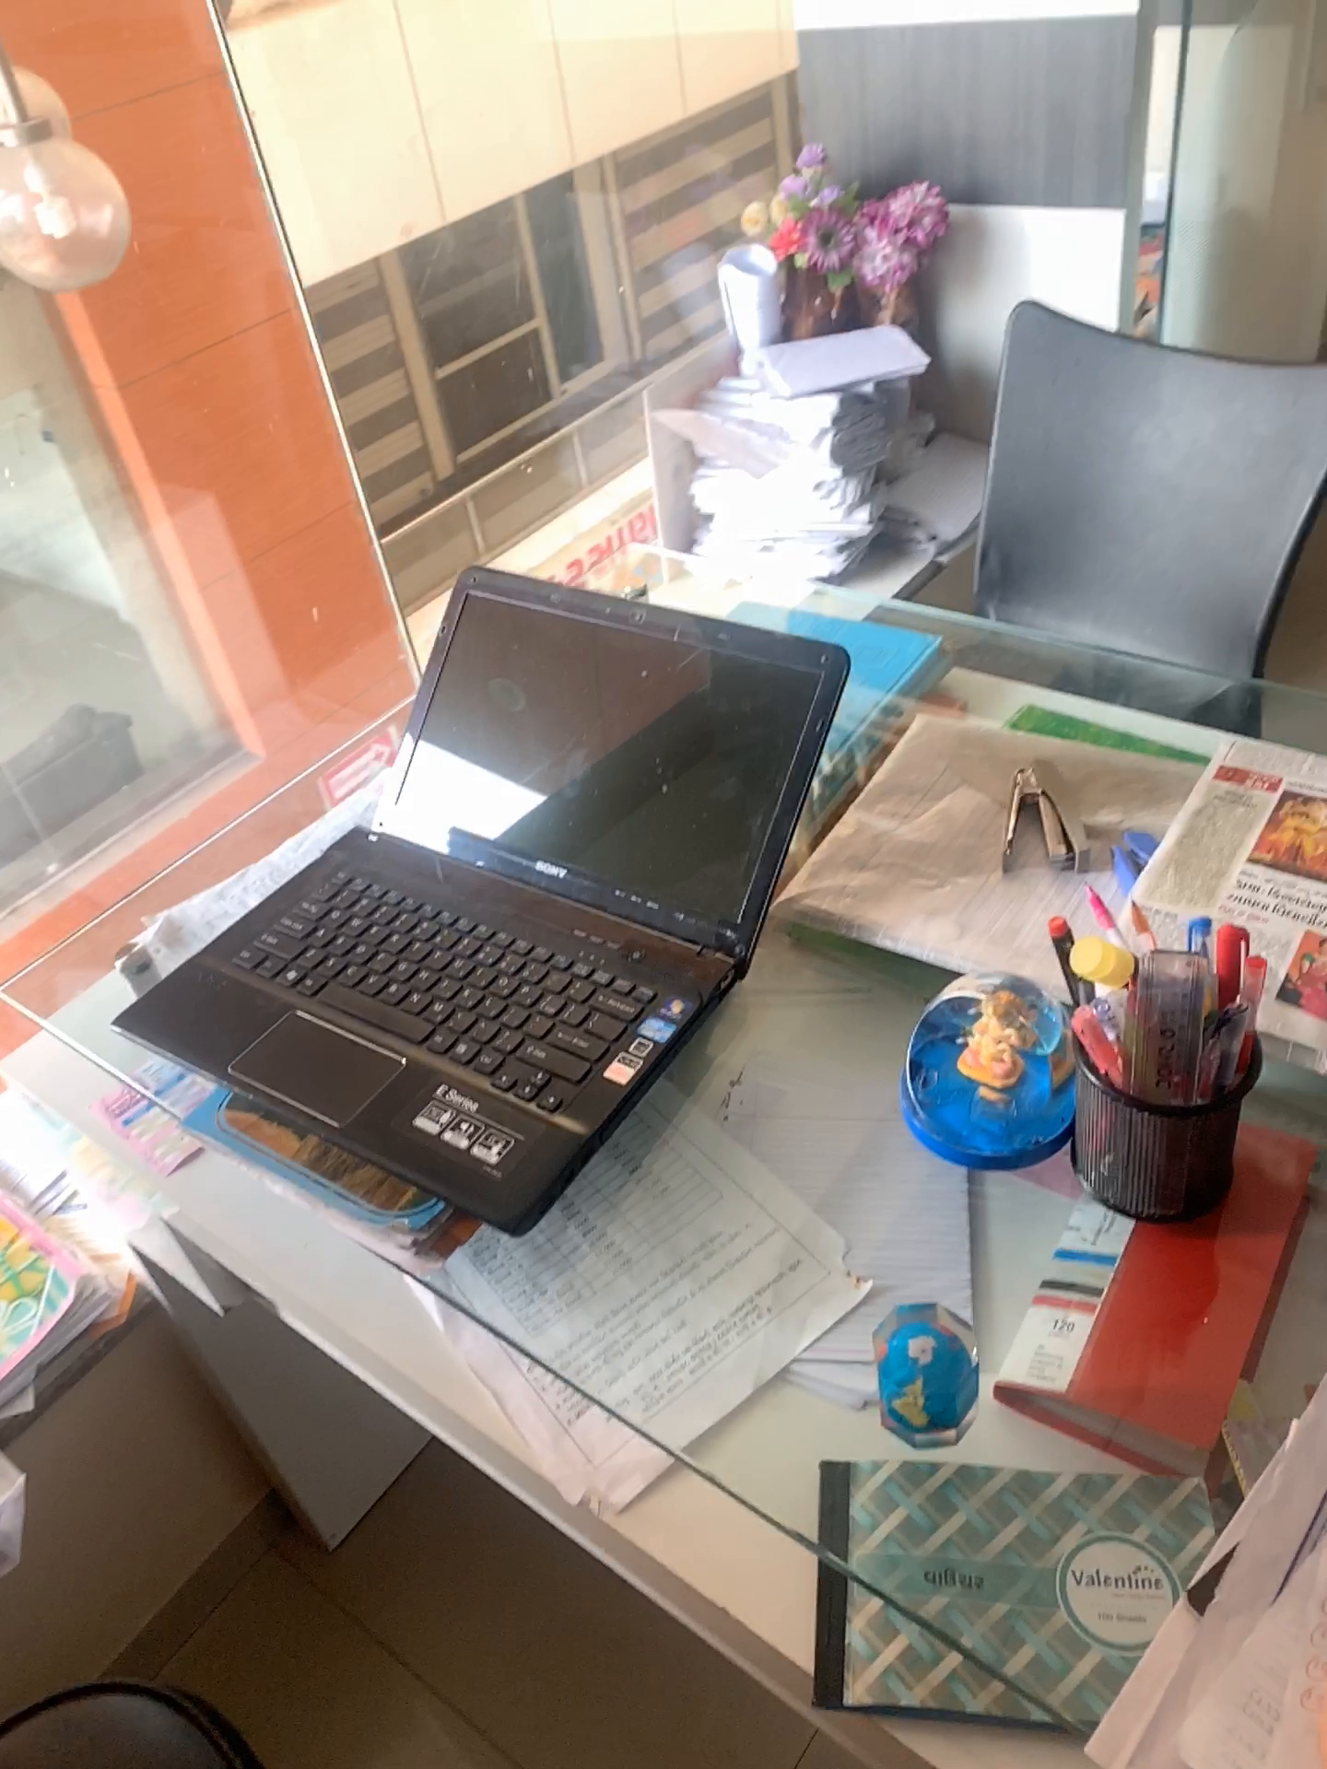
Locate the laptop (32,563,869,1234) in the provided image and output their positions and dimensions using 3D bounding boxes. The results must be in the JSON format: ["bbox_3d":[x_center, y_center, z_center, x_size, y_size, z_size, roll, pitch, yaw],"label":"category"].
[{"bbox_3d":[-0.096,-0.026,0.738,0.286,0.111,0.337,18,47,30],"label":"laptop"}]
